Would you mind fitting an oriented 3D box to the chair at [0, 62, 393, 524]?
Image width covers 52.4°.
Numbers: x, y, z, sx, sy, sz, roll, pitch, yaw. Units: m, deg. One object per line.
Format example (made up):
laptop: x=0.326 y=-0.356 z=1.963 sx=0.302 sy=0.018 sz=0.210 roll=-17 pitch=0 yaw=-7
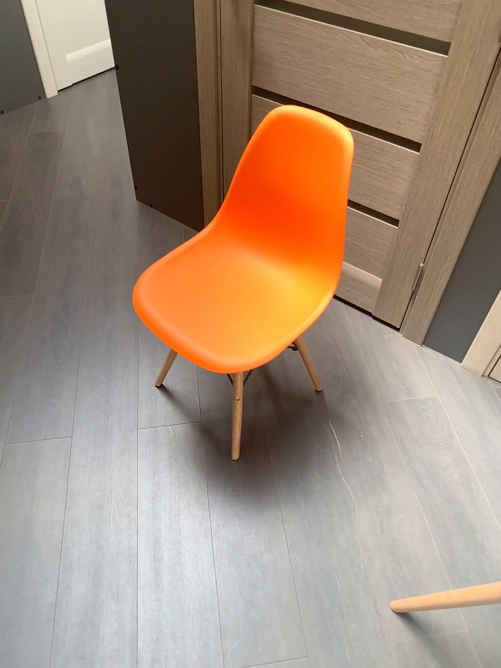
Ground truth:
chair: x=-0.133 y=-0.086 z=1.143 sx=0.531 sy=0.717 sz=0.521 roll=37 pitch=56 yaw=27
